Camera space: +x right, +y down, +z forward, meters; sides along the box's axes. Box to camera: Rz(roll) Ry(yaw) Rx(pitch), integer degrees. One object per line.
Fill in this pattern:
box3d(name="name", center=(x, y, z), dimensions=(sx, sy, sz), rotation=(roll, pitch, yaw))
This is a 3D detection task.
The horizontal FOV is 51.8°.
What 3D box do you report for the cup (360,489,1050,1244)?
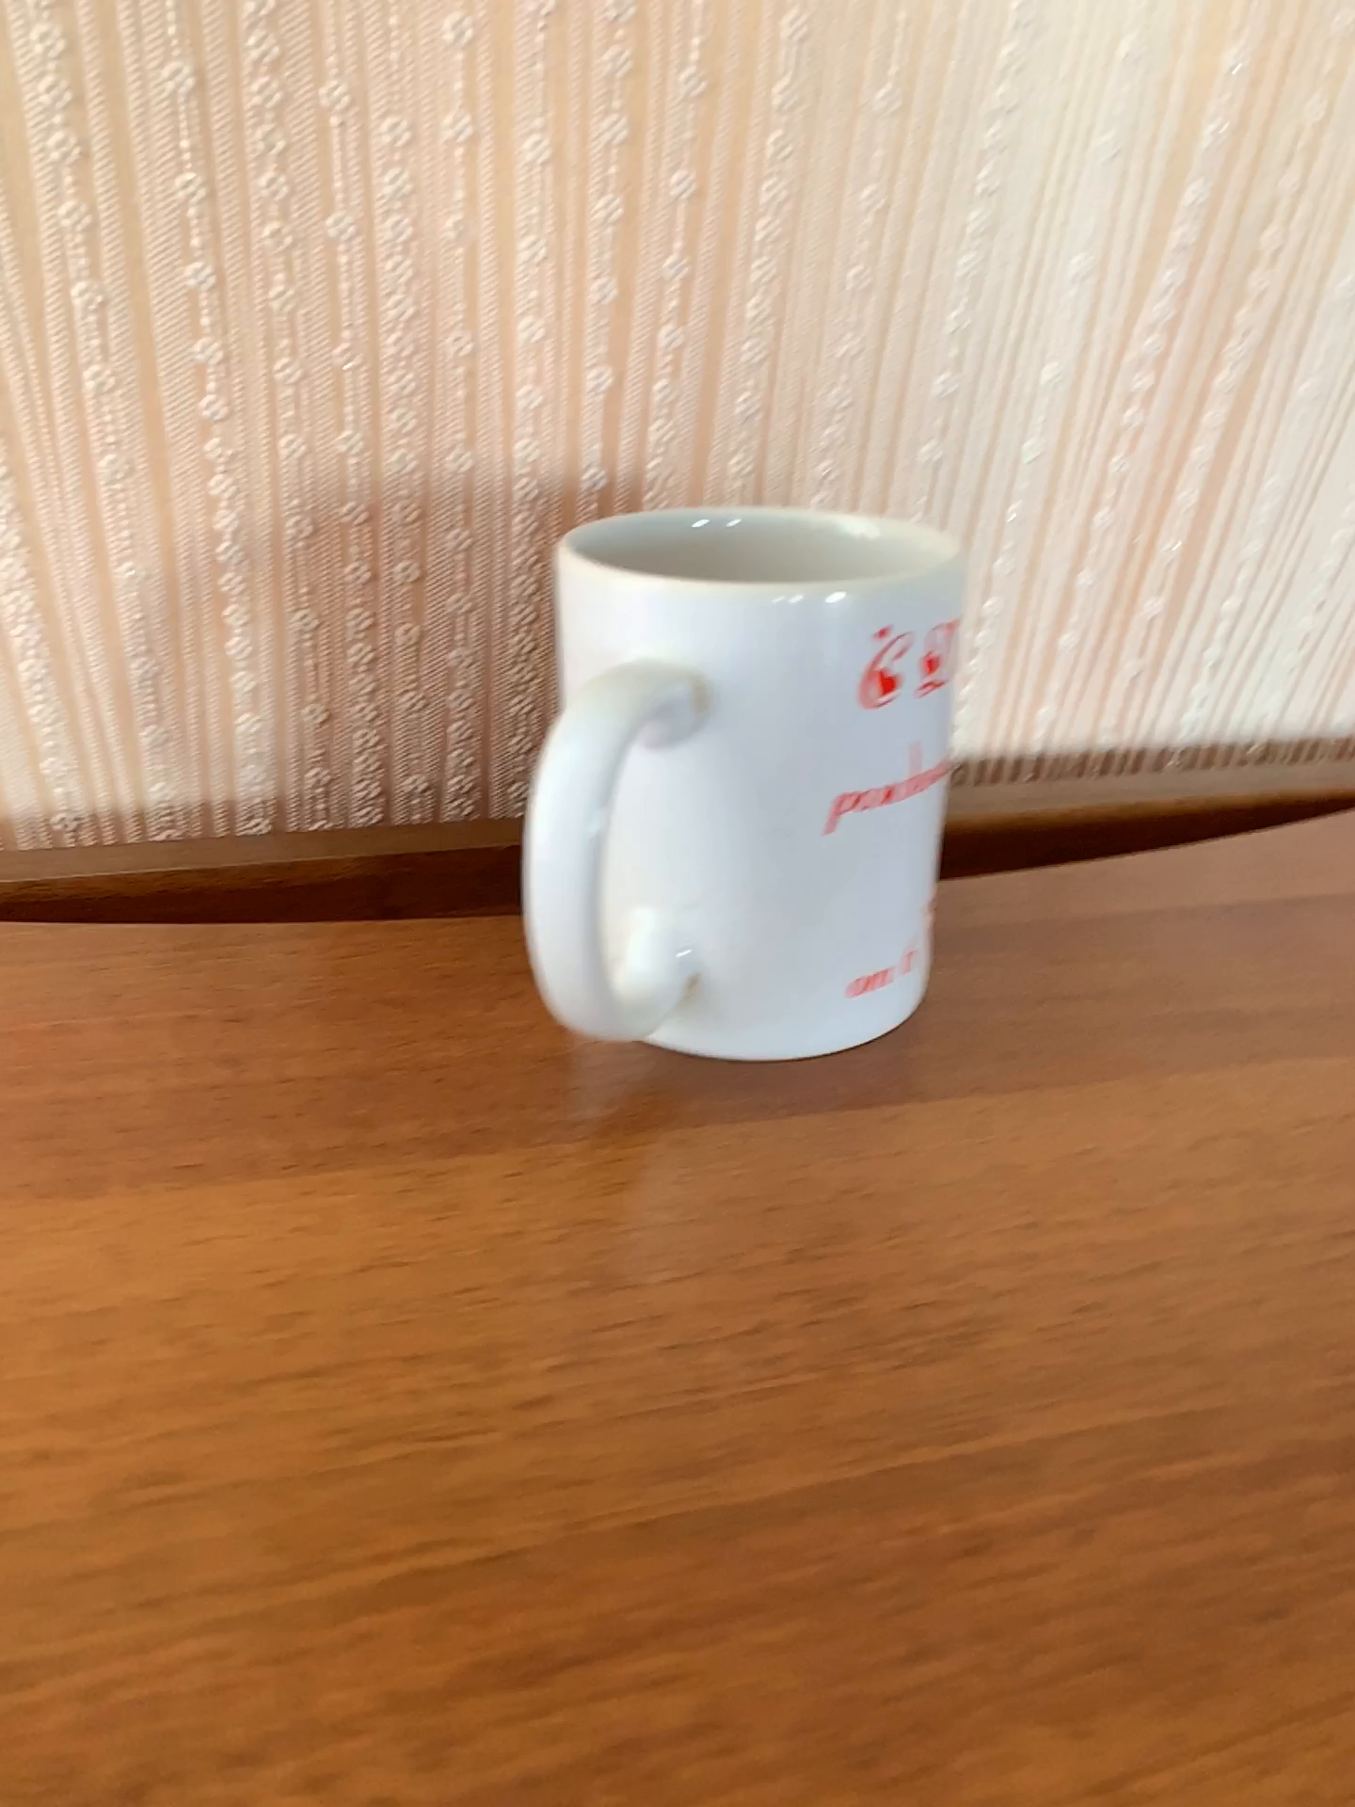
box3d(name="cup", center=(0.011, -0.020, 0.283), dimensions=(0.082, 0.105, 0.118), rotation=(14, 27, 28))
